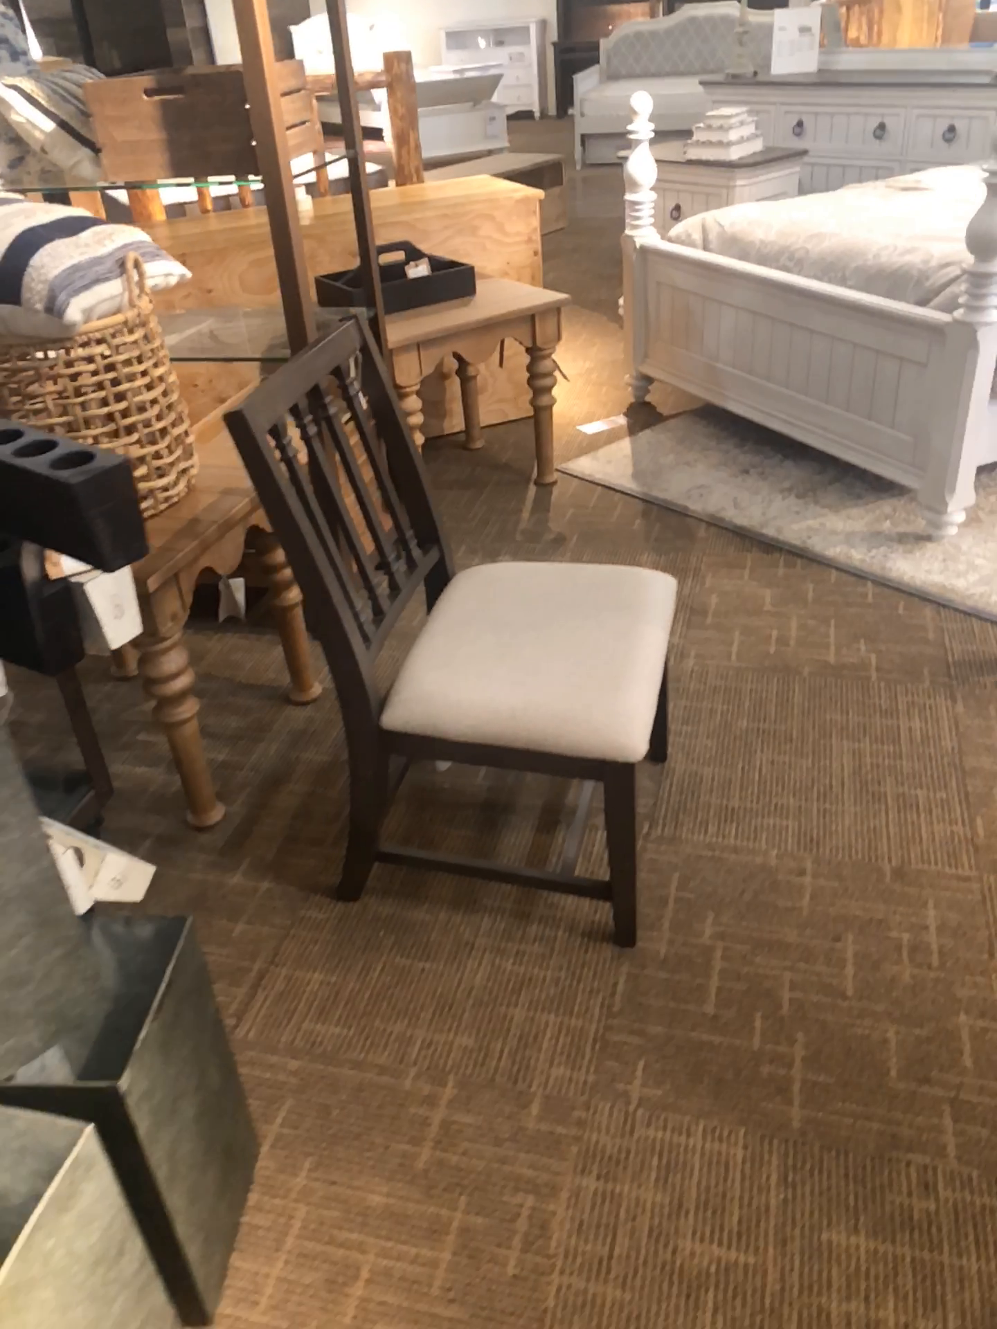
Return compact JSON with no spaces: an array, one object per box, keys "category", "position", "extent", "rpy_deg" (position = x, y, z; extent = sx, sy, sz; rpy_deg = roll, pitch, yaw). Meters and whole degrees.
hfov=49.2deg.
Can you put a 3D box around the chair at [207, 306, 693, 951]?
[{"category":"chair","position":[-0.006,-0.083,1.887],"extent":[0.600,0.905,0.583],"rpy_deg":[4,33,14]}]
